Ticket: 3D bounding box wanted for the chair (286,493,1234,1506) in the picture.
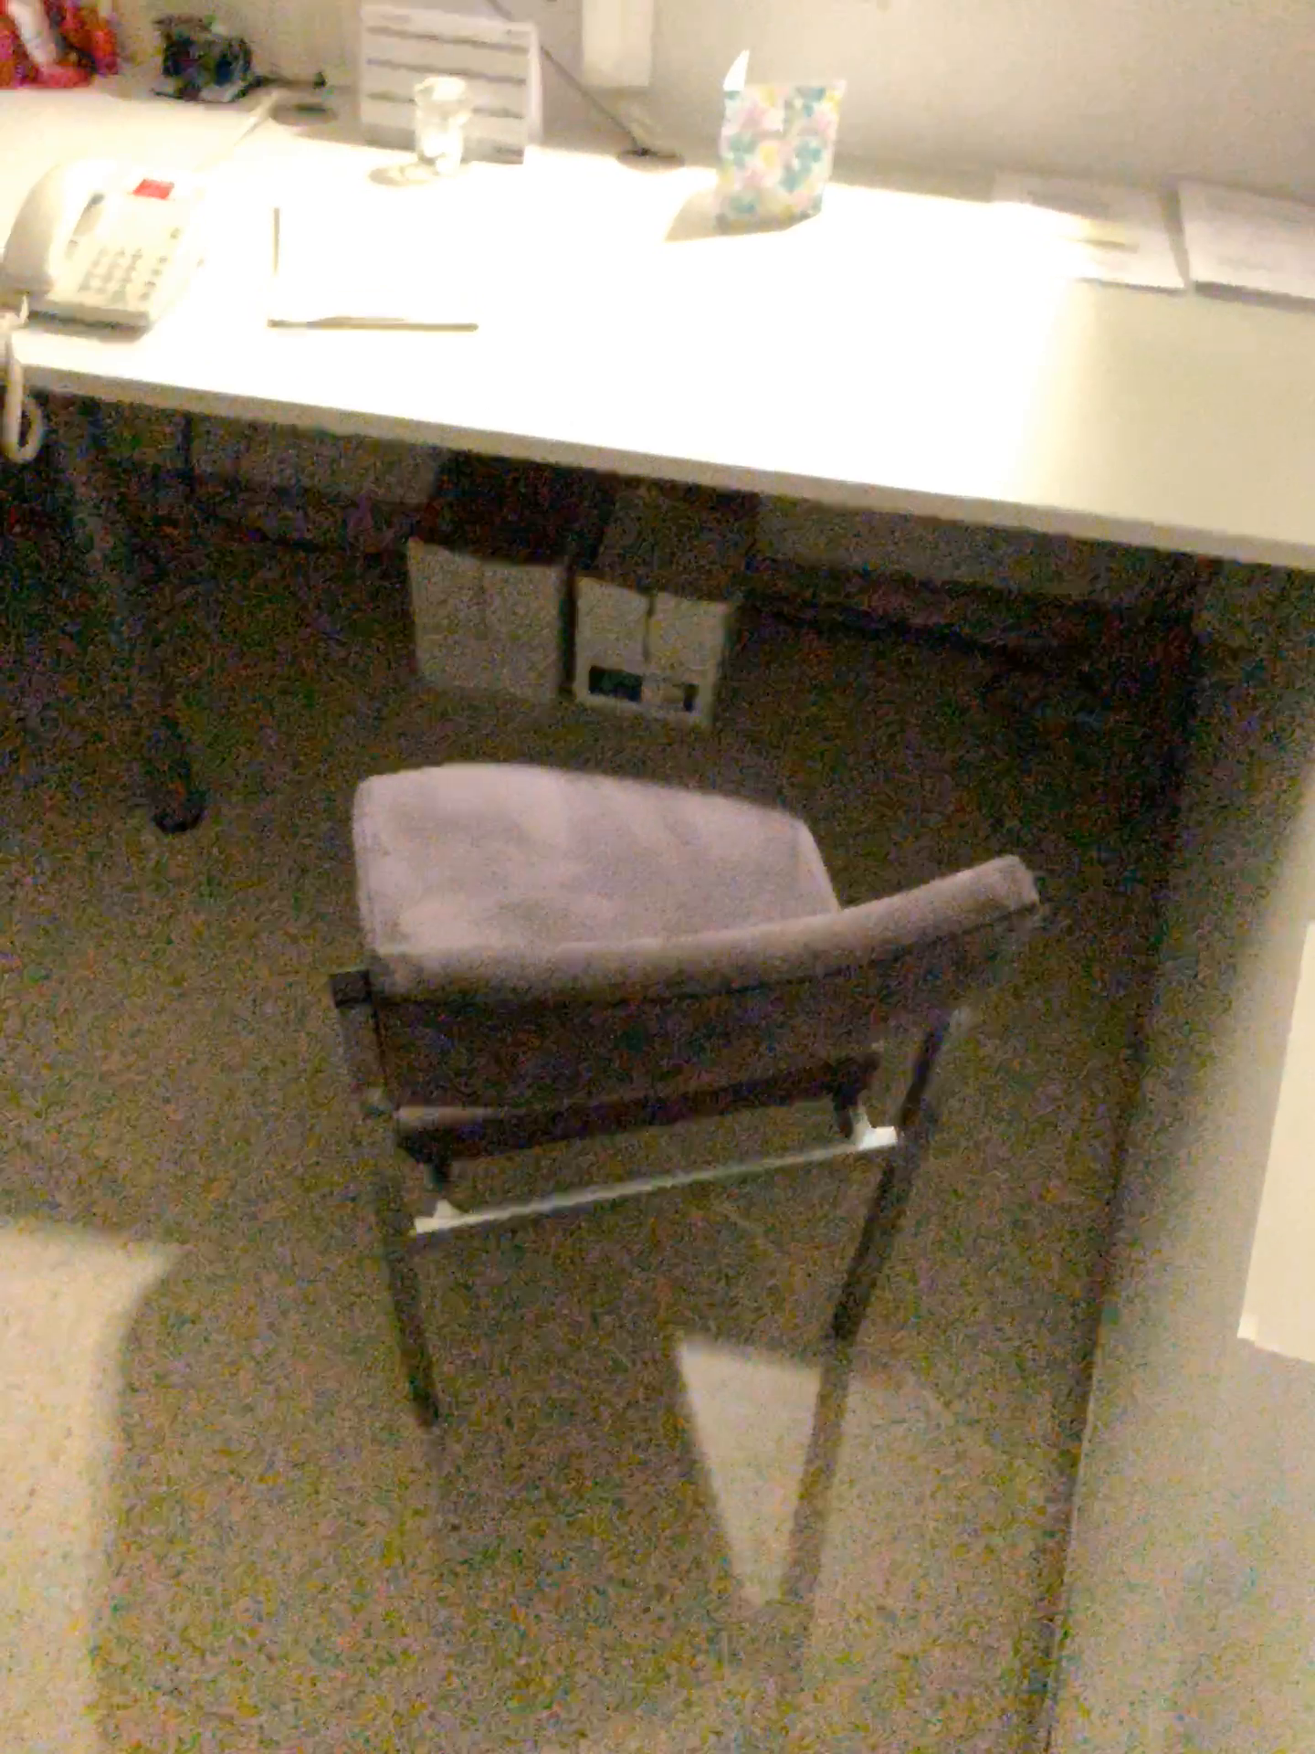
[{"bbox_3d":[0.004,0.111,1.222,0.570,0.664,0.555,-6,47,-11],"label":"chair"}]
